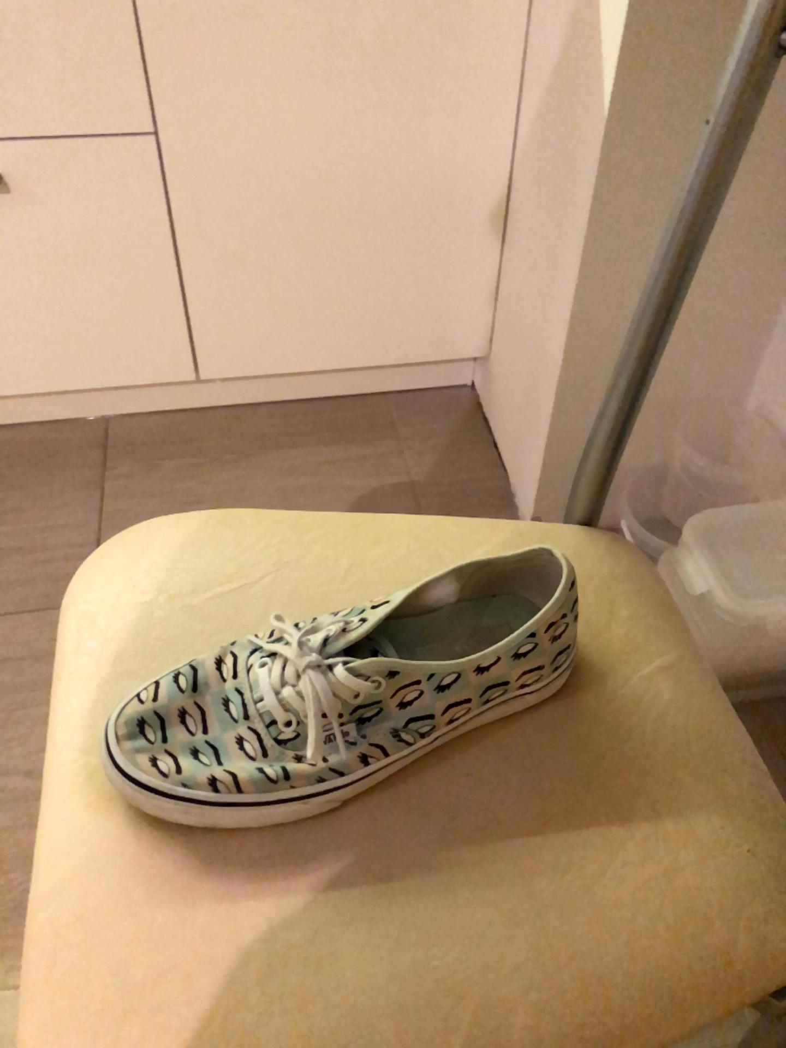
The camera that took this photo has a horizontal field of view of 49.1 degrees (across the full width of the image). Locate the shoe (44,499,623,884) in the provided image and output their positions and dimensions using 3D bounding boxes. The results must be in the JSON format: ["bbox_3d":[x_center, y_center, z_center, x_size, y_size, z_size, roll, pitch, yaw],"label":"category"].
[{"bbox_3d":[-0.031,0.076,0.442,0.260,0.068,0.111,-13,47,-14],"label":"shoe"}]
